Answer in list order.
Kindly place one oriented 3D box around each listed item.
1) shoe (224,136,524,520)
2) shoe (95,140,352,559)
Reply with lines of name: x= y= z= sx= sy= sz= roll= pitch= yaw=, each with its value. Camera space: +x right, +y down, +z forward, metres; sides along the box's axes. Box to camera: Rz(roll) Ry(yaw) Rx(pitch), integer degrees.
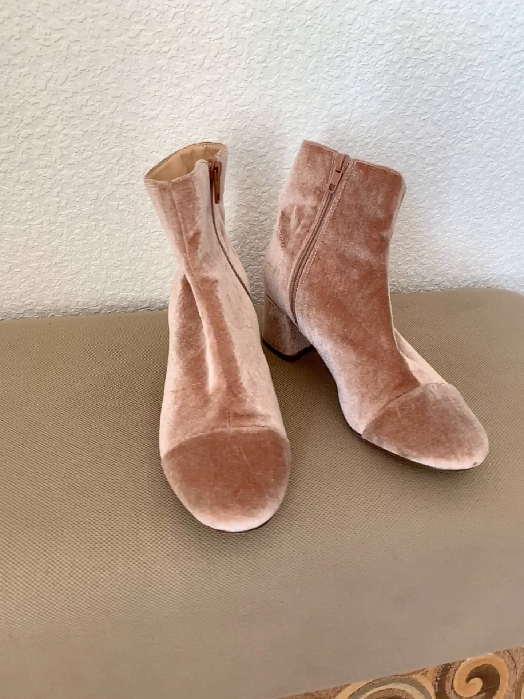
shoe: x=0.076 y=-0.043 z=0.408 sx=0.100 sy=0.169 sz=0.271 roll=-15 pitch=36 yaw=-25
shoe: x=-0.033 y=-0.023 z=0.349 sx=0.100 sy=0.169 sz=0.231 roll=-4 pitch=33 yaw=-8
